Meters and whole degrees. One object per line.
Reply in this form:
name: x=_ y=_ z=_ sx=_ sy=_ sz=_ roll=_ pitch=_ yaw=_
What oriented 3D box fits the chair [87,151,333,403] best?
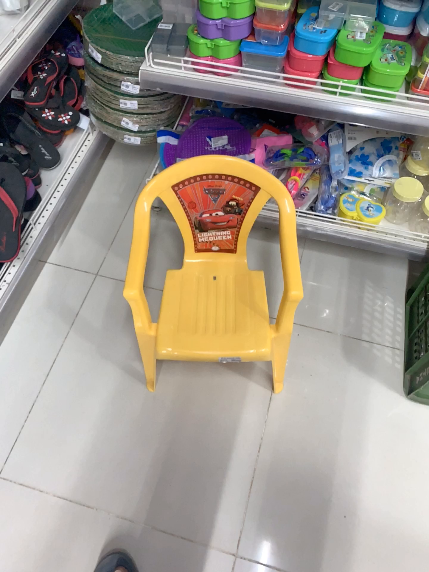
chair: x=0.000 y=0.014 z=1.002 sx=0.390 sy=0.499 sz=0.371 roll=1 pitch=60 yaw=2
